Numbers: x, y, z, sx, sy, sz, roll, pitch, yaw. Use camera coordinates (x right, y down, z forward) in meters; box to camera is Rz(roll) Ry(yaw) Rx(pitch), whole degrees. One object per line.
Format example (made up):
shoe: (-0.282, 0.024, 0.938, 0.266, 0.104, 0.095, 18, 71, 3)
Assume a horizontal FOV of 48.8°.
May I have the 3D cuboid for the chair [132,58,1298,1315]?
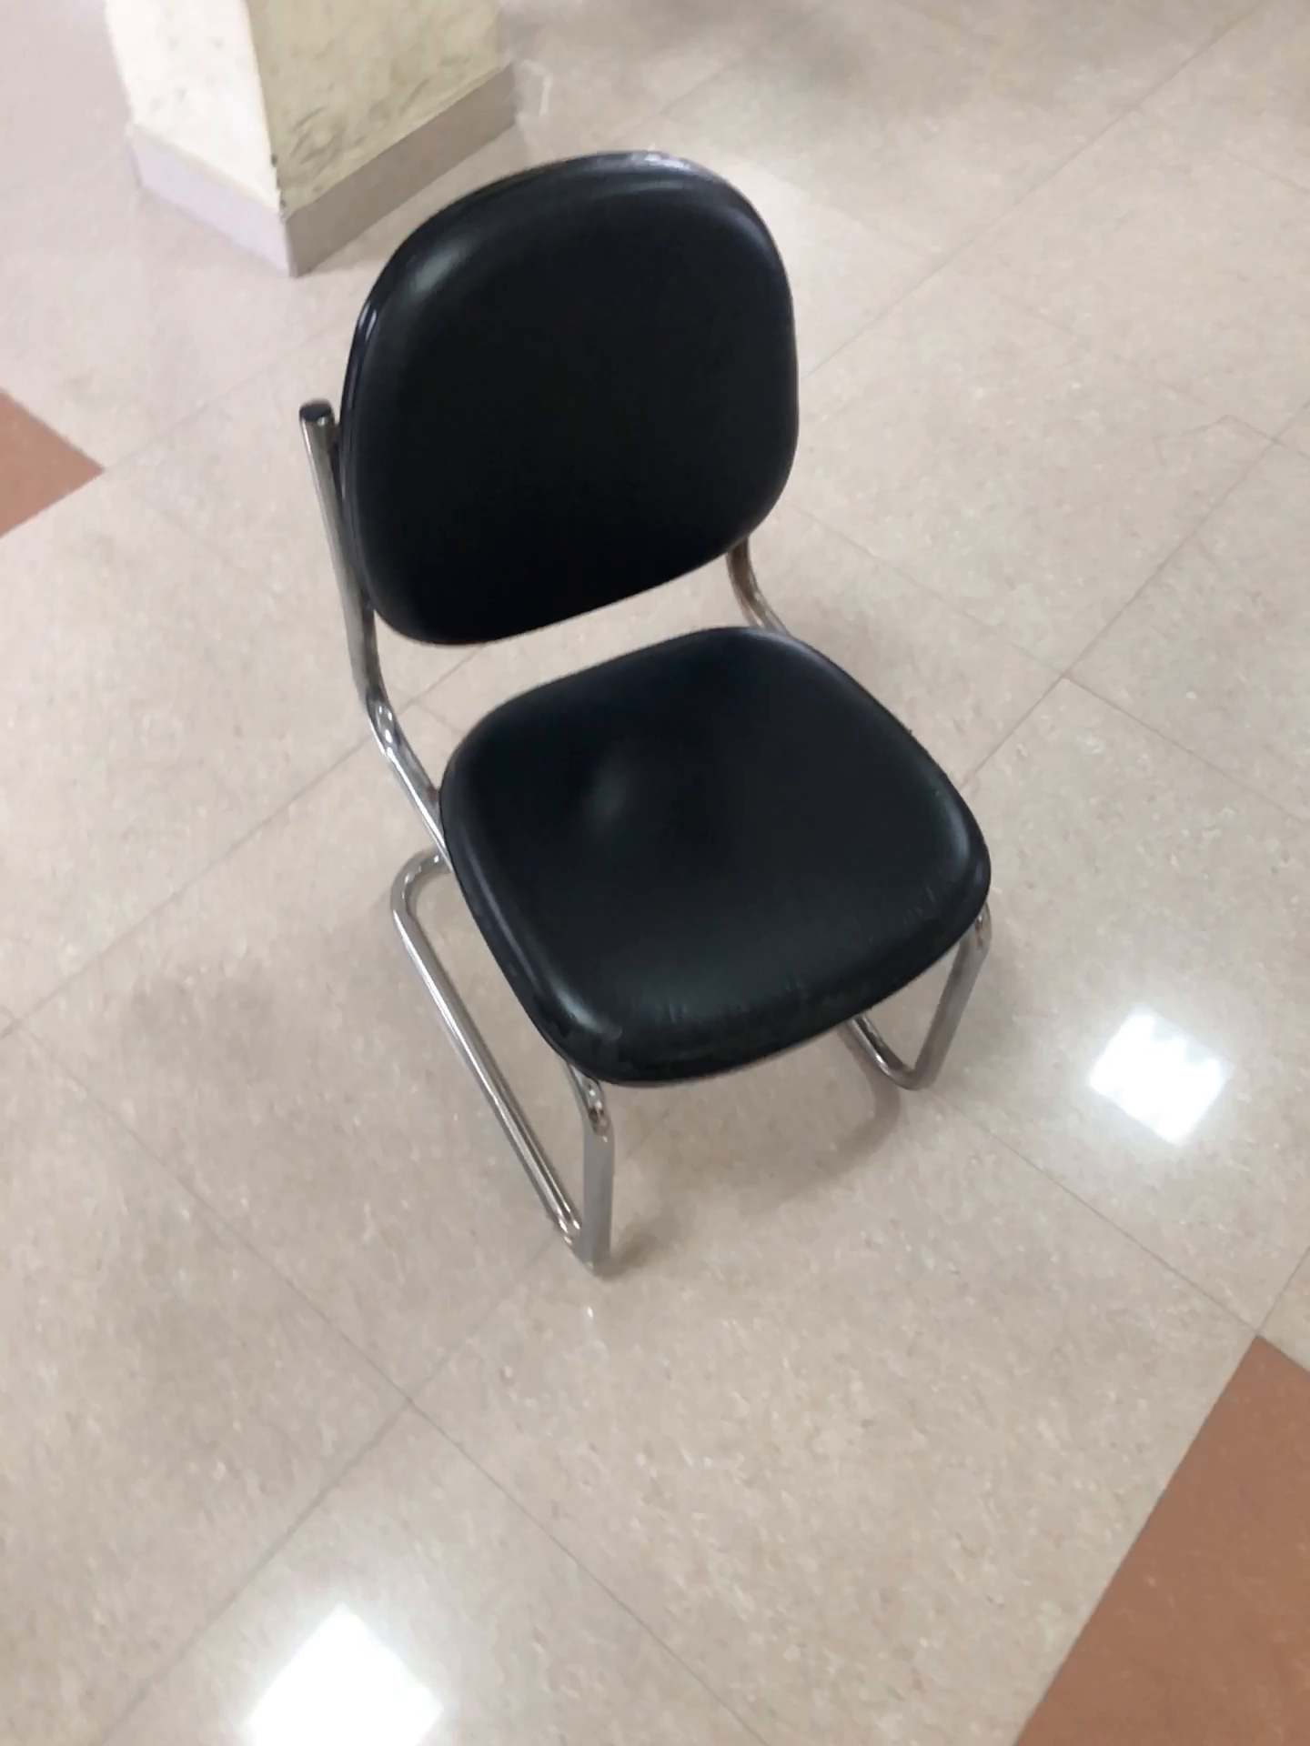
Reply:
chair: (0.001, -0.106, 1.235, 0.500, 0.759, 0.591, -26, 63, -17)
